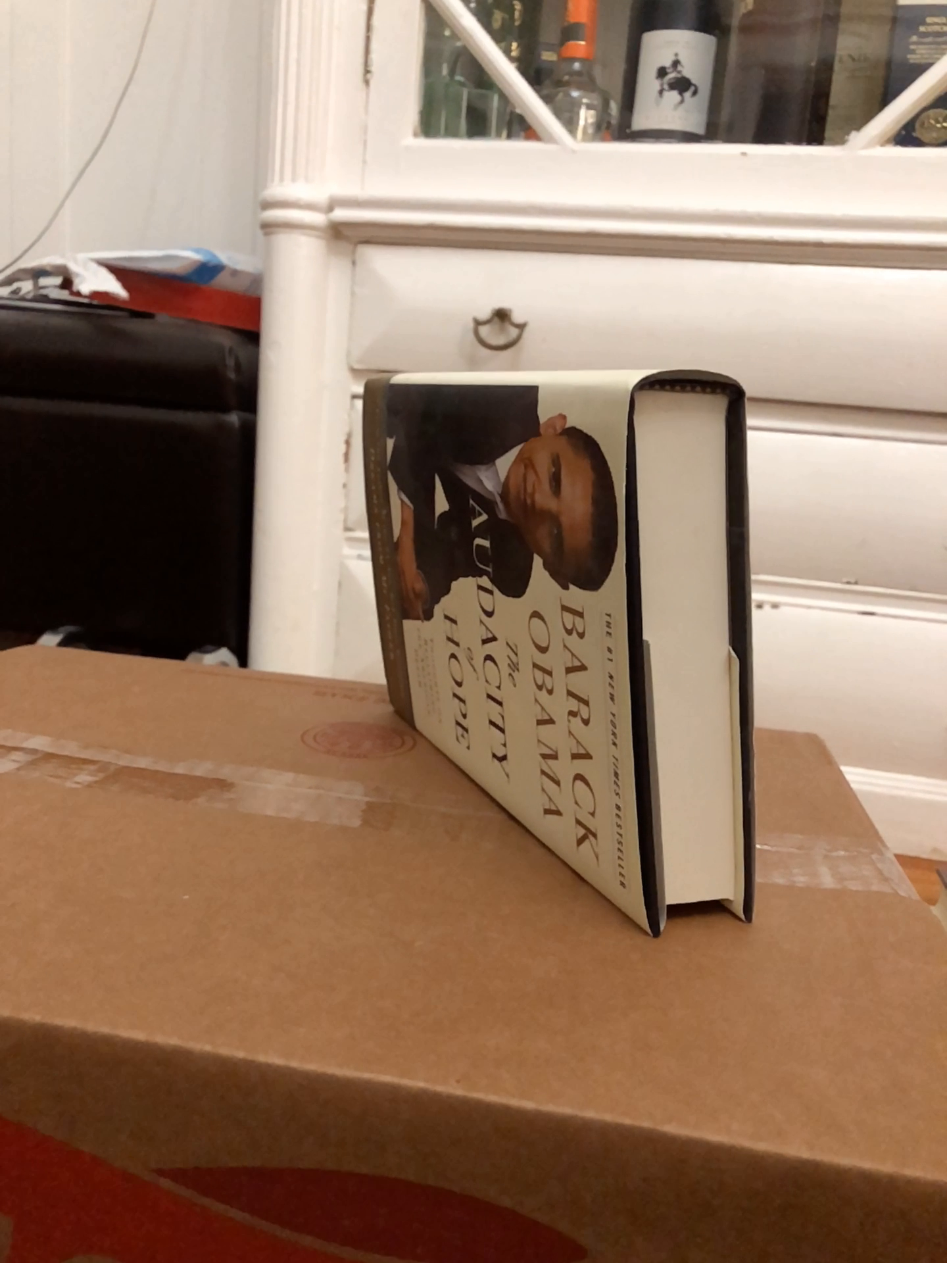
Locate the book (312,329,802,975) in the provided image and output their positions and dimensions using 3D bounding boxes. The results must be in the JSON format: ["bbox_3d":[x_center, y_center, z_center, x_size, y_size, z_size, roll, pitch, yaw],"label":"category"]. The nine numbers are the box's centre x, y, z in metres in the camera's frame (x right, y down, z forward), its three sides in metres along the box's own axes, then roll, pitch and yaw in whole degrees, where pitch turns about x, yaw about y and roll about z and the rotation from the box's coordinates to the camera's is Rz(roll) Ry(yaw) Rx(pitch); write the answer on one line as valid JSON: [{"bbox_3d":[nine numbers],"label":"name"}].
[{"bbox_3d":[0.012,-0.015,0.397,0.060,0.169,0.250,-11,15,-22],"label":"book"}]
